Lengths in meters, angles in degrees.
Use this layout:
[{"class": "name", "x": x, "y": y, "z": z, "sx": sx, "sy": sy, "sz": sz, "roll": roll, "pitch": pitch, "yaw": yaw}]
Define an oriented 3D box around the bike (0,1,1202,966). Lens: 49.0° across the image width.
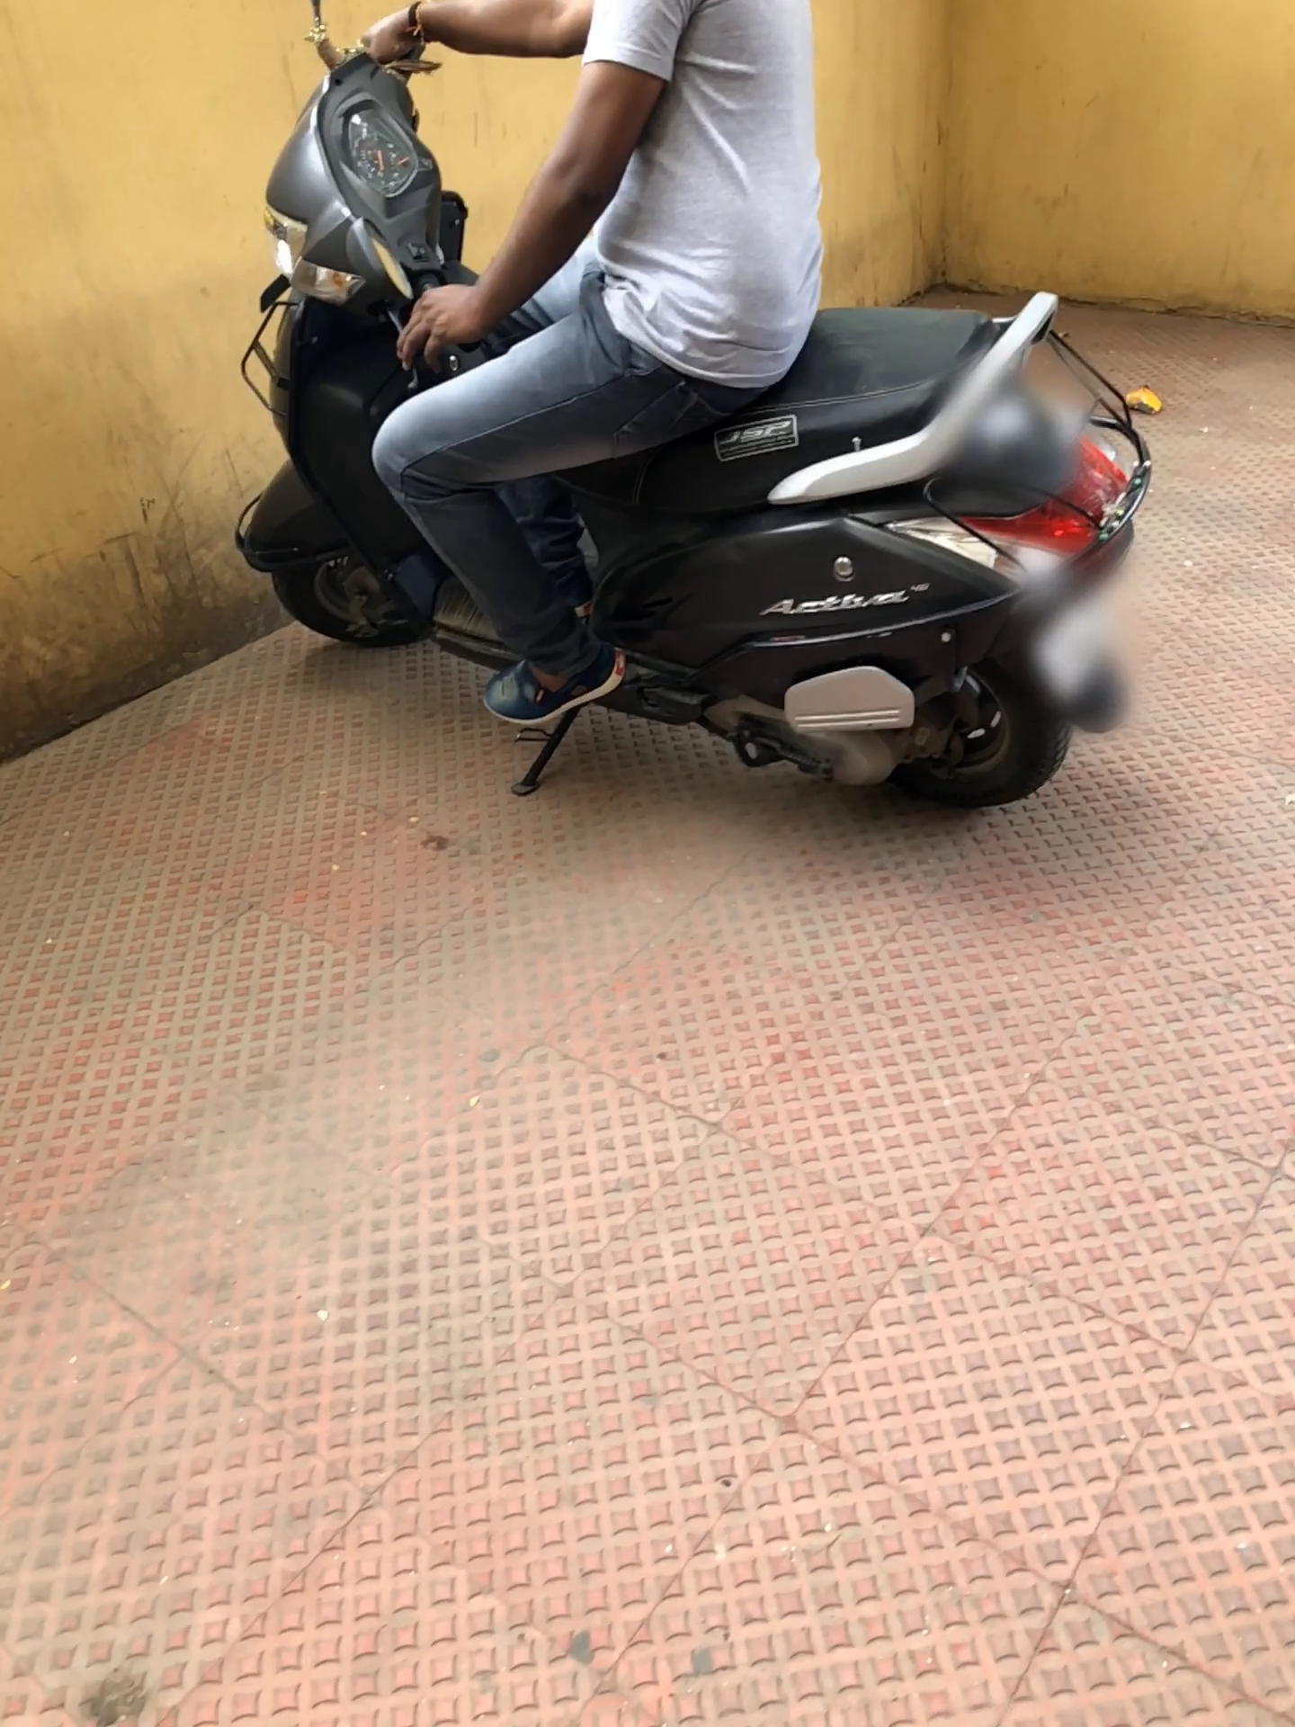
[{"class": "bike", "x": -0.128, "y": -0.623, "z": 2.170, "sx": 1.545, "sy": 1.016, "sz": 0.697, "roll": 14, "pitch": 39, "yaw": 29}]
